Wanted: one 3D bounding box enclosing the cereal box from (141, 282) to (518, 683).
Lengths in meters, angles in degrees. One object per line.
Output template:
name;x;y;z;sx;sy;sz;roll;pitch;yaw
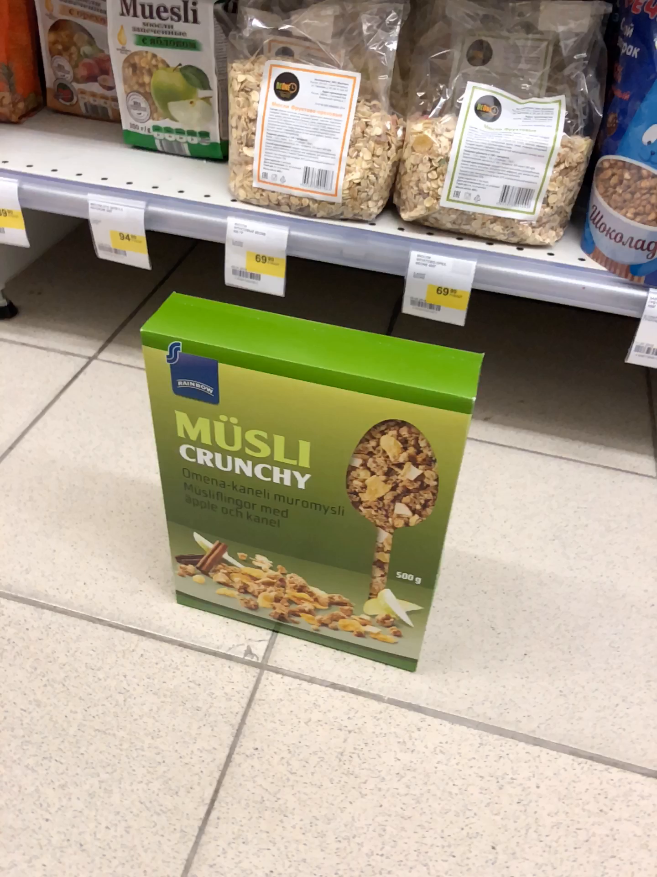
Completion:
cereal box;-0.007;0.040;0.473;0.200;0.249;0.050;13;40;10
